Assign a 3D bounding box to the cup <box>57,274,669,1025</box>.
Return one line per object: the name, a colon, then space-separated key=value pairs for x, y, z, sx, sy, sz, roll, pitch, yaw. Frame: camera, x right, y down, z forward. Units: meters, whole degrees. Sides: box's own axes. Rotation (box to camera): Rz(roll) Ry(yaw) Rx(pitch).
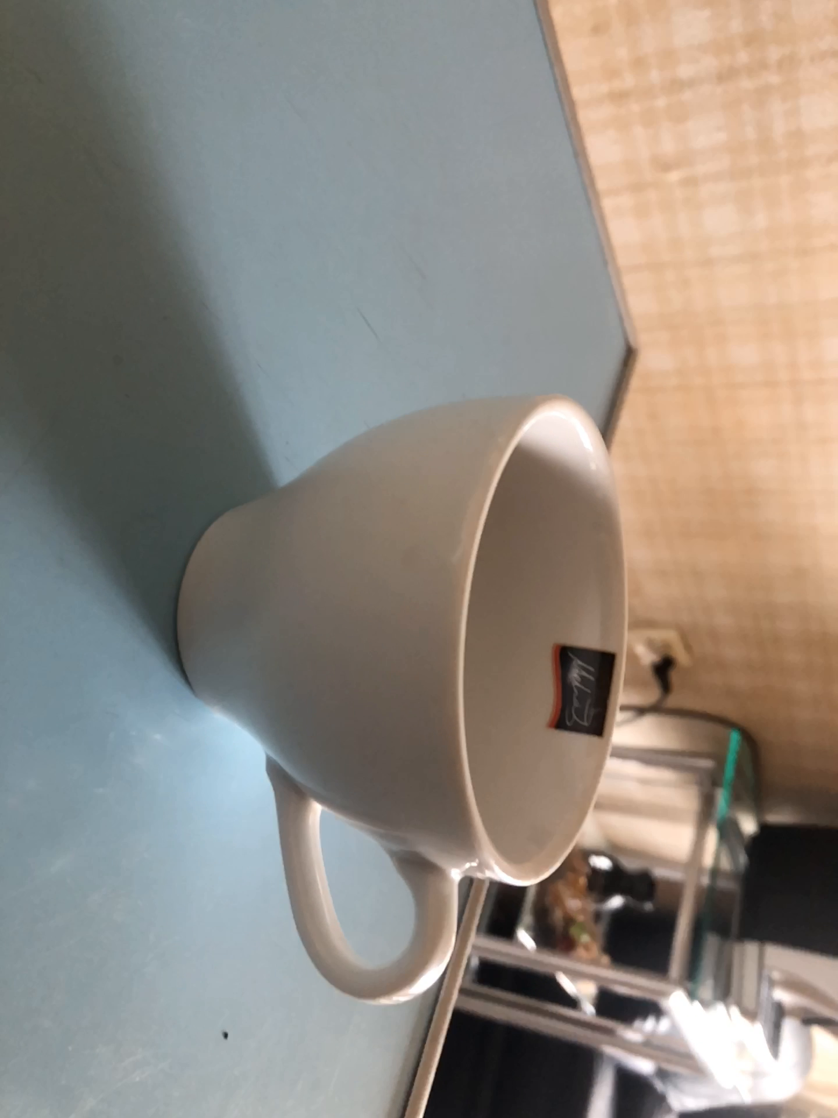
cup: x=0.003 y=0.022 z=0.182 sx=0.097 sy=0.057 sz=0.106 roll=-6 pitch=97 yaw=-61
